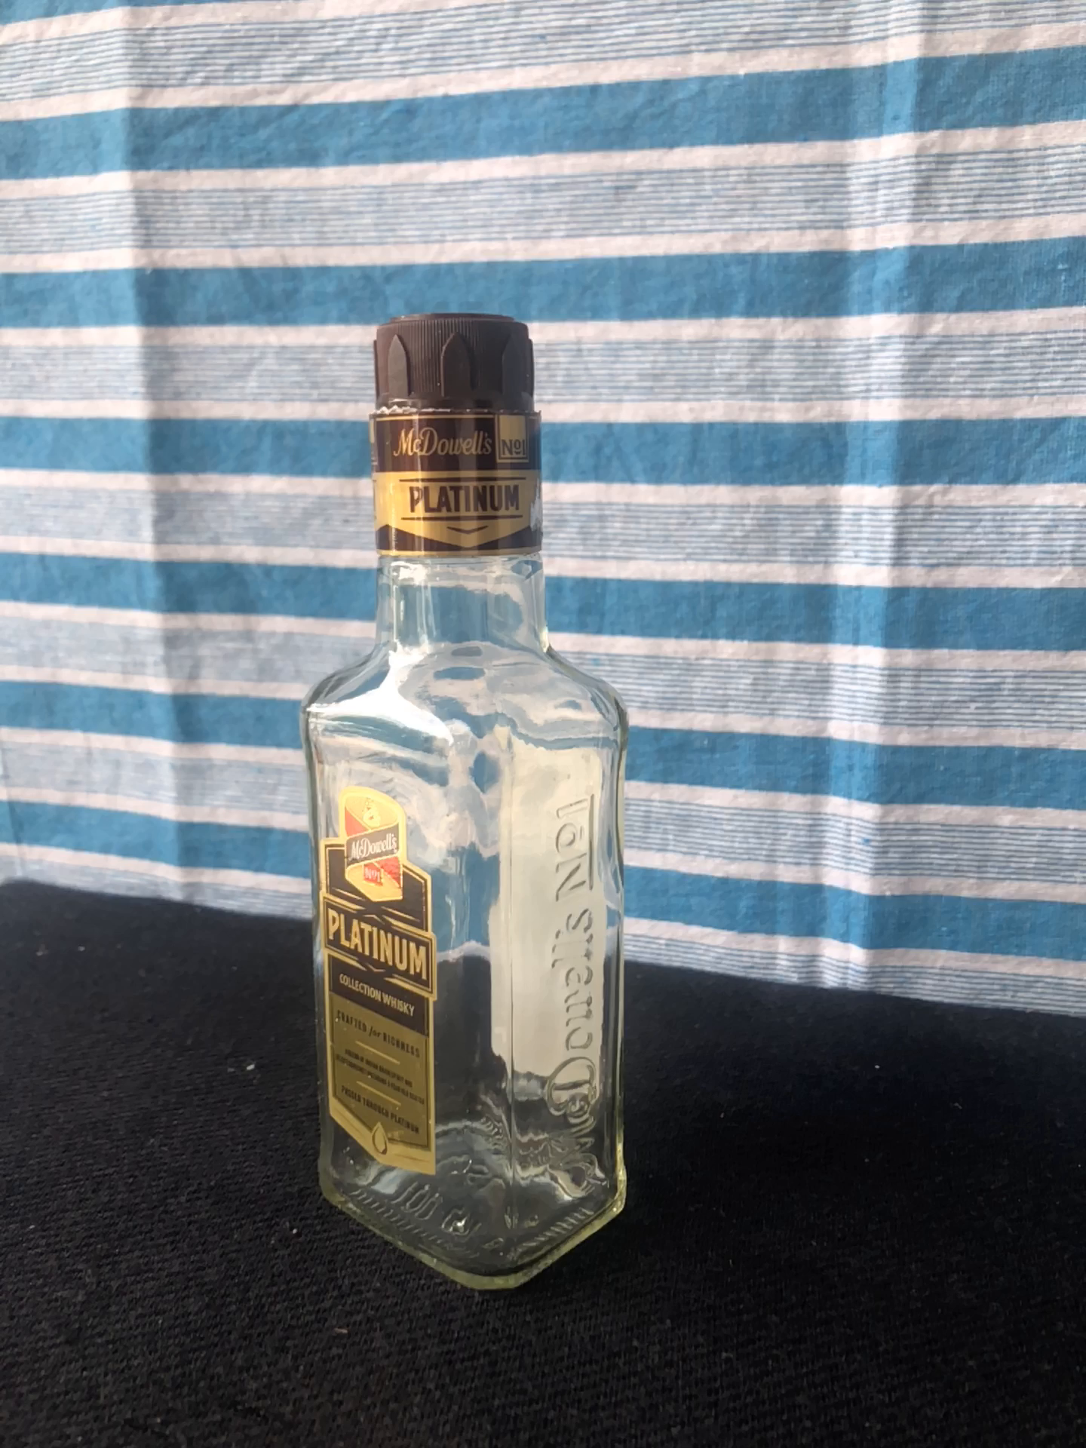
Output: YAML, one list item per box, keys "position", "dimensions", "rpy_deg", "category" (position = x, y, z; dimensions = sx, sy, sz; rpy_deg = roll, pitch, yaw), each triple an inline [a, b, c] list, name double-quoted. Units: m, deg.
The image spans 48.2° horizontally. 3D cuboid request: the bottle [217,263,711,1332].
- position: [-0.014, 0.009, 0.195]
  dimensions: [0.060, 0.150, 0.040]
  rpy_deg: [13, 19, 37]
  category: "bottle"
